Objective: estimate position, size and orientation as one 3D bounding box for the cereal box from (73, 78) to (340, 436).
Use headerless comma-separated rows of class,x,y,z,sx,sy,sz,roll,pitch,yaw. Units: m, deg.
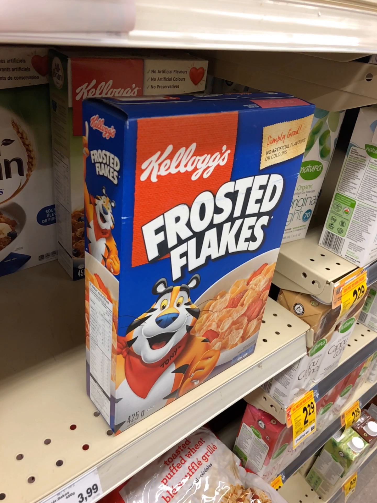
cereal box,0.014,-0.001,0.374,0.211,0.278,0.060,-18,37,-36
